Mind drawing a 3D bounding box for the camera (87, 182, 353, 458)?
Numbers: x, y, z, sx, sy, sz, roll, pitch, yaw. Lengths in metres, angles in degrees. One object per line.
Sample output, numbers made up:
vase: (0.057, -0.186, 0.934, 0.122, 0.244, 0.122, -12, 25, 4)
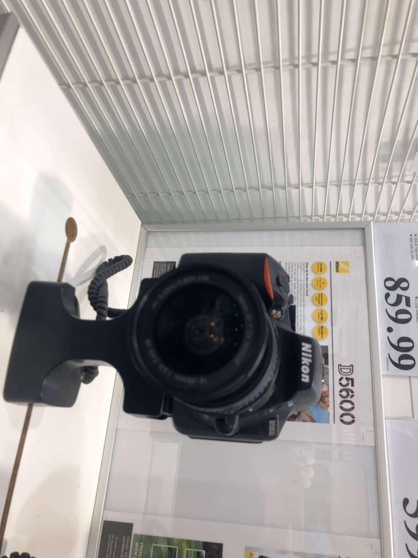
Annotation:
camera: (0.019, 0.035, 0.280, 0.160, 0.110, 0.120, 61, 31, -71)
